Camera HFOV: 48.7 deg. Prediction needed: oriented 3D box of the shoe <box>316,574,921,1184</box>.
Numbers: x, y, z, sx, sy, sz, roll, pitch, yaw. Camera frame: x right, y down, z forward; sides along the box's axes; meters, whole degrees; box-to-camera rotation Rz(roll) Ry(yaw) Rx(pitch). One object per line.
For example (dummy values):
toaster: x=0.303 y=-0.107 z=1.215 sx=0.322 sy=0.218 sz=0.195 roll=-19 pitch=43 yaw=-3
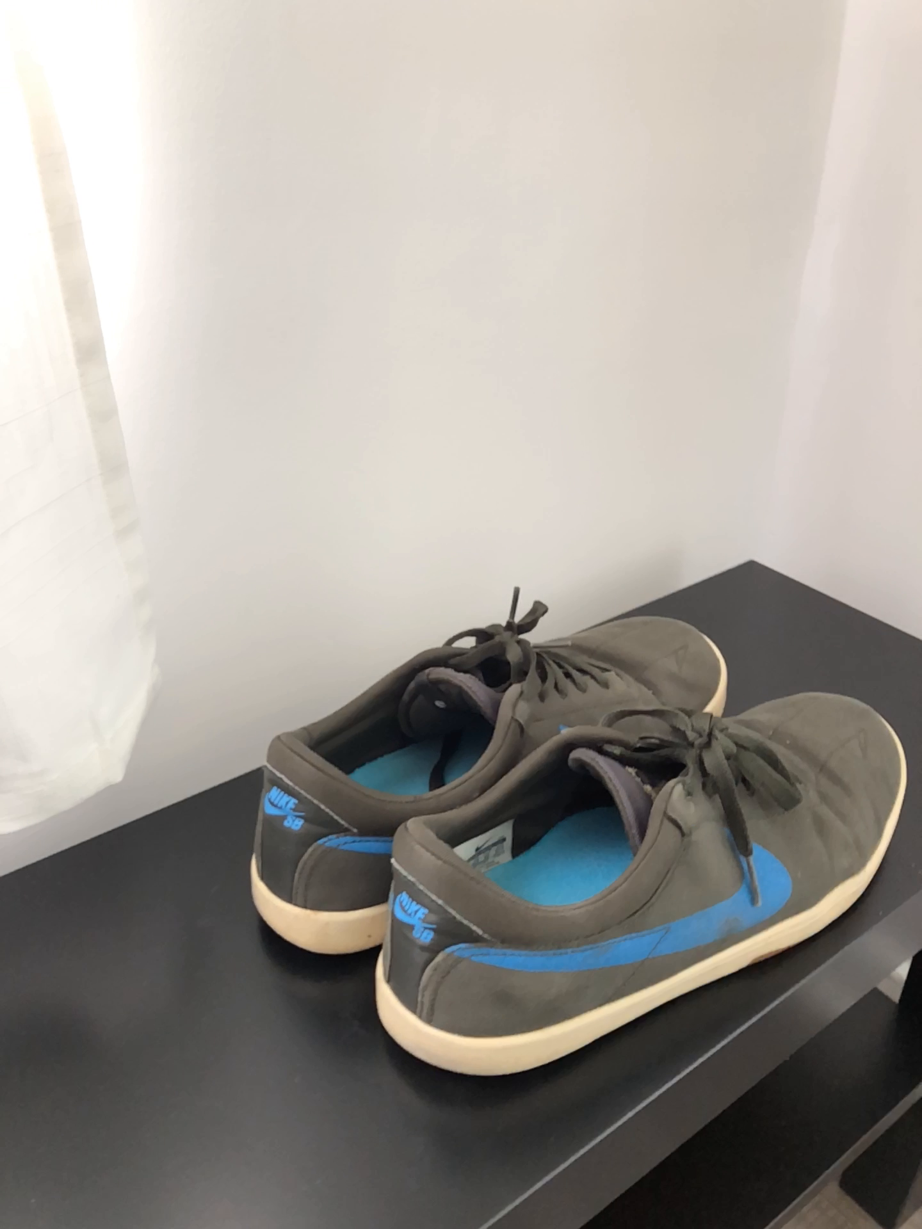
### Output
shoe: x=0.091 y=0.088 z=0.429 sx=0.280 sy=0.110 sz=0.100 roll=-19 pitch=35 yaw=-30

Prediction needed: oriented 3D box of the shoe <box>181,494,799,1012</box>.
shoe: x=0.026 y=0.045 z=0.484 sx=0.280 sy=0.110 sz=0.100 roll=-22 pitch=37 yaw=-33
